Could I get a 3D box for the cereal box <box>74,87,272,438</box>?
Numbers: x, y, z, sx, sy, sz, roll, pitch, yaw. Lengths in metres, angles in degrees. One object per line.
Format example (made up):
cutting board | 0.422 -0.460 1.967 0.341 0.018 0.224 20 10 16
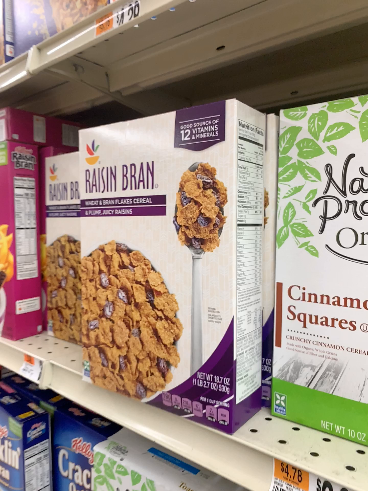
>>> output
cereal box | -0.017 0.011 0.378 0.190 0.270 0.070 2 4 37
